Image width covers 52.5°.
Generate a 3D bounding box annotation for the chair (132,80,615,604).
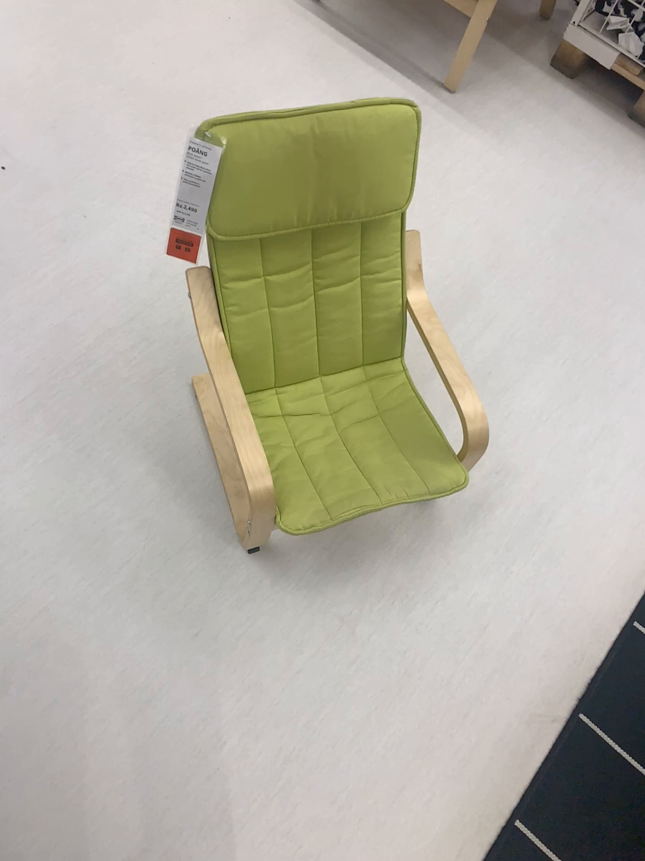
[{"bbox_3d":[-0.001,-0.100,1.290,0.520,0.819,0.570,-15,68,-16],"label":"chair"}]
